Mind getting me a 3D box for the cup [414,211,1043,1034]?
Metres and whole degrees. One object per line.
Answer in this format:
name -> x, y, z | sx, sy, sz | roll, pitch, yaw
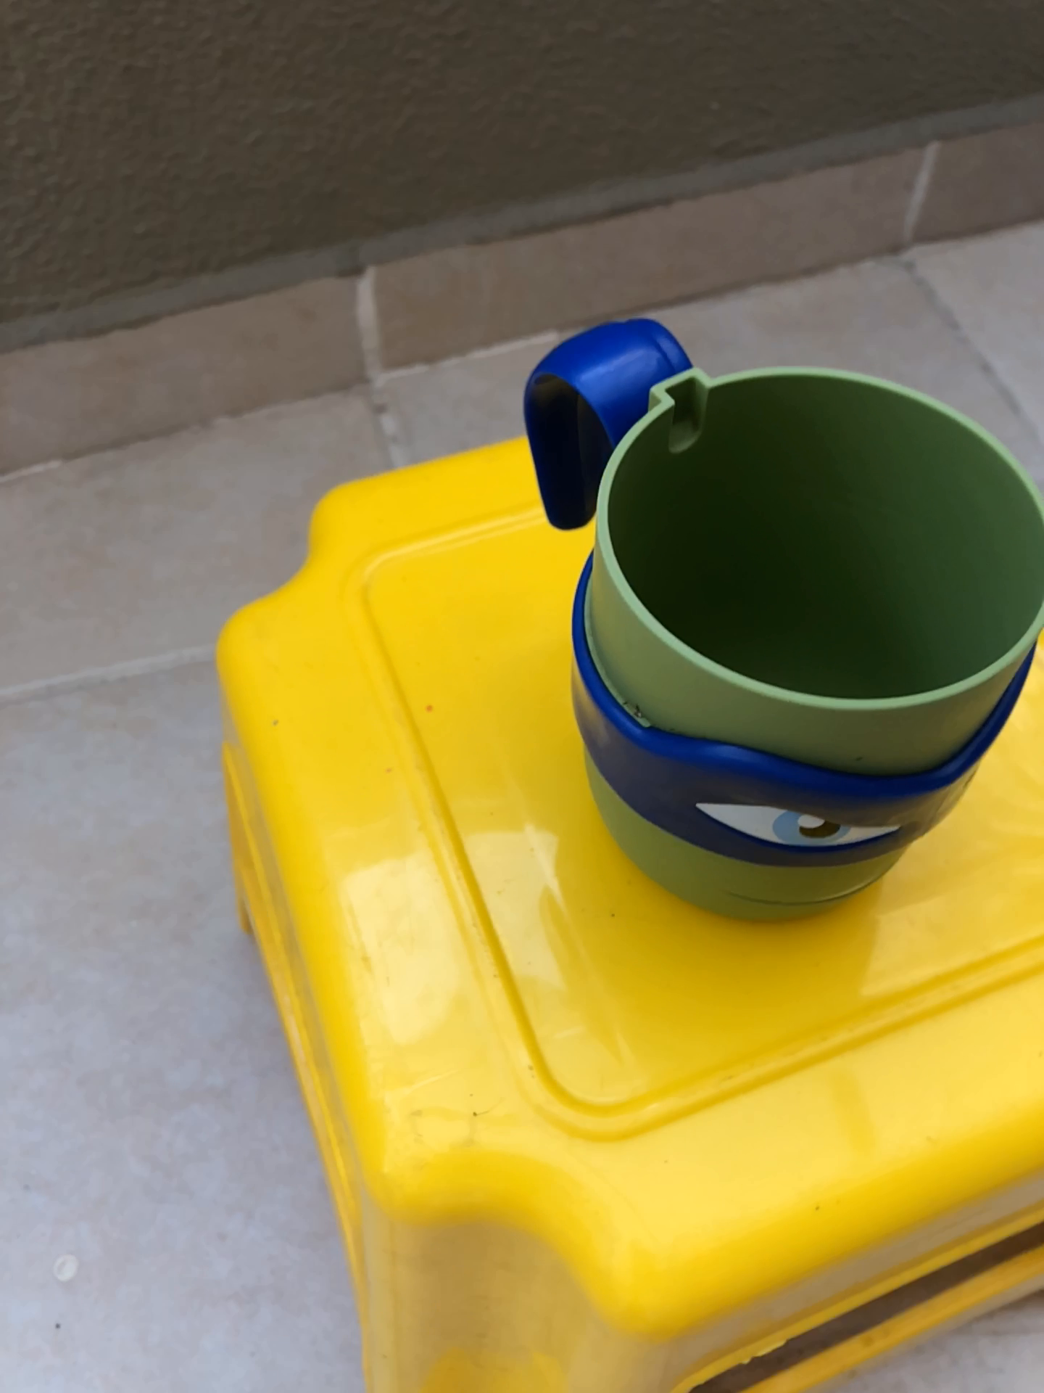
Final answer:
cup -> 0.044, -0.015, 0.232 | 0.080, 0.090, 0.110 | -27, 59, -16
